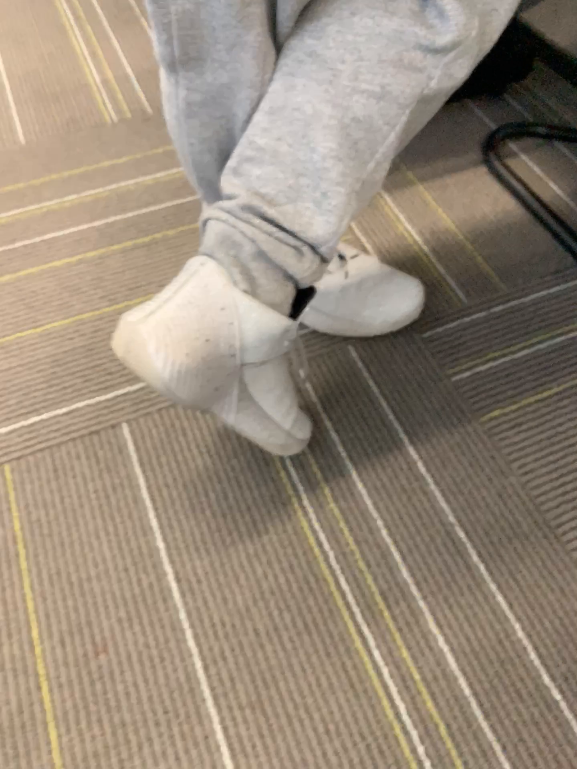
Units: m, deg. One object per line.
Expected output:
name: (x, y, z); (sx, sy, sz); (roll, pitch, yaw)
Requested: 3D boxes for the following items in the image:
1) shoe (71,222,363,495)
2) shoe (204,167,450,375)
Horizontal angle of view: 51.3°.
shoe: (-0.052, -0.009, 0.600); (0.120, 0.279, 0.120); (36, 85, 36)
shoe: (0.048, -0.155, 0.816); (0.280, 0.149, 0.130); (23, 60, 13)
